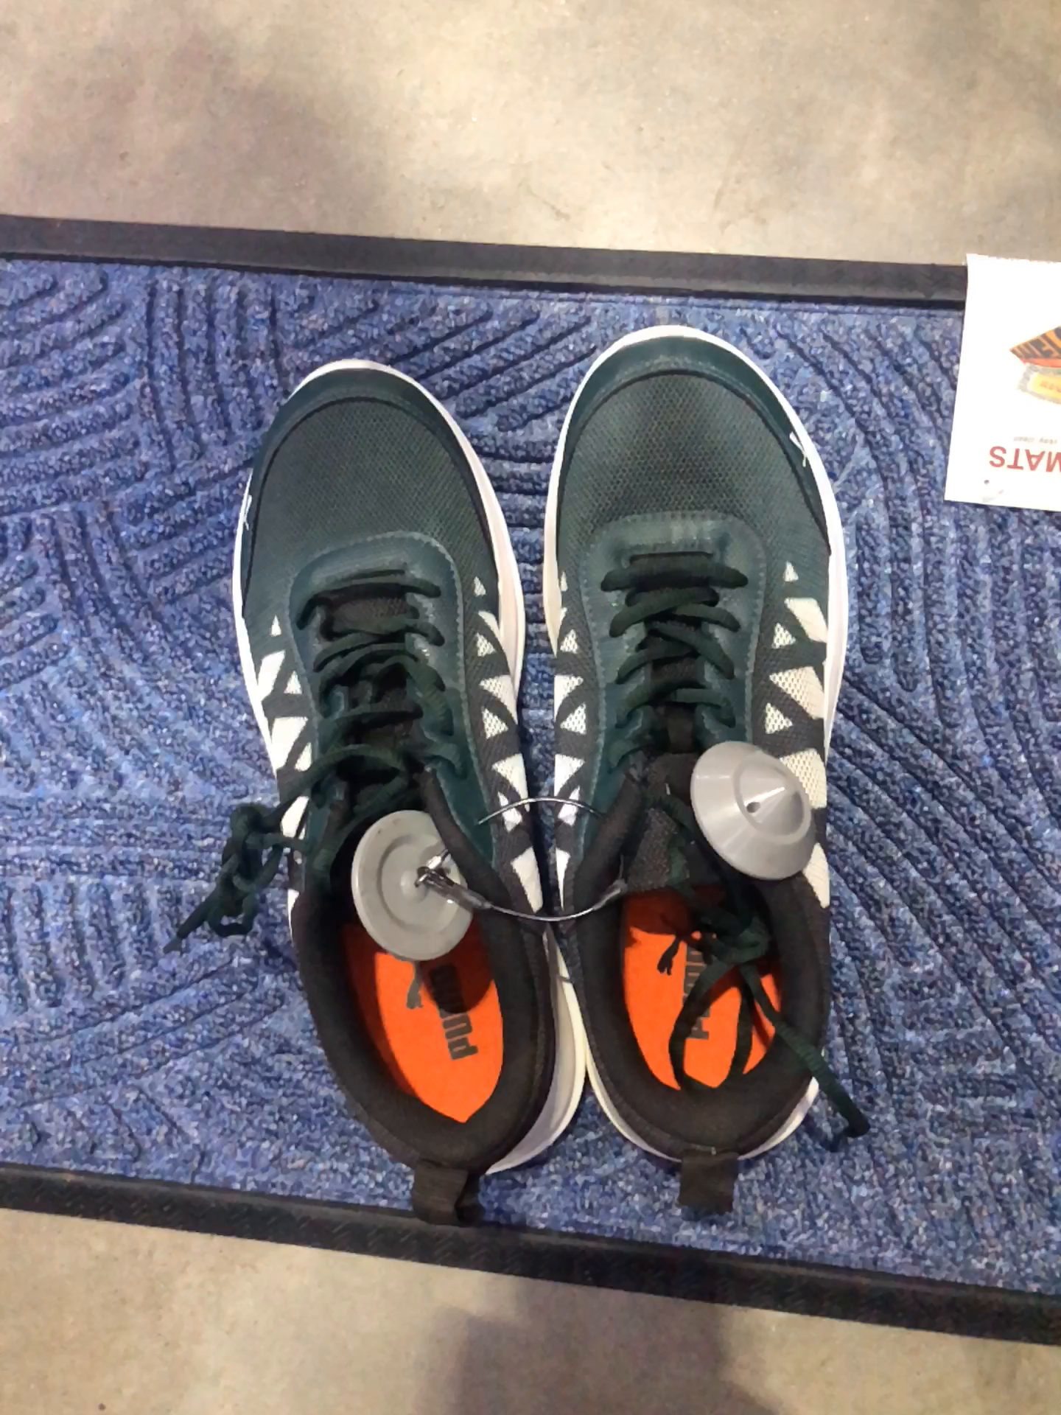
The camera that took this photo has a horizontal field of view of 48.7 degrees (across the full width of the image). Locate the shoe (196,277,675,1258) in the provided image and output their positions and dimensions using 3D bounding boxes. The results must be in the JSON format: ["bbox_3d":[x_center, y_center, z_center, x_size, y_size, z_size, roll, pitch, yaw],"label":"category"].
[{"bbox_3d":[-0.033,0.017,0.418,0.110,0.060,0.310,-10,84,4],"label":"shoe"}]

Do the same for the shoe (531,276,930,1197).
[{"bbox_3d":[0.063,0.007,0.403,0.120,0.060,0.290,-1,85,5],"label":"shoe"}]
